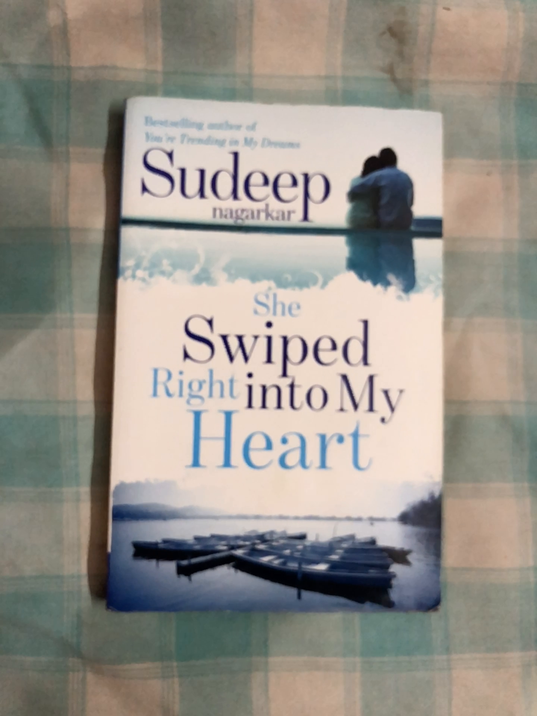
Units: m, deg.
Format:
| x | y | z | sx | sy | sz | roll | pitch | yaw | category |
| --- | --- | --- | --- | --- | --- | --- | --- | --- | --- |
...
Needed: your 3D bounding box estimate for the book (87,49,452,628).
| x | y | z | sx | sy | sz | roll | pitch | yaw | category |
| --- | --- | --- | --- | --- | --- | --- | --- | --- | --- |
| 0.002 | -0.007 | 0.240 | 0.130 | 0.030 | 0.210 | 1 | 88 | -3 | book |
